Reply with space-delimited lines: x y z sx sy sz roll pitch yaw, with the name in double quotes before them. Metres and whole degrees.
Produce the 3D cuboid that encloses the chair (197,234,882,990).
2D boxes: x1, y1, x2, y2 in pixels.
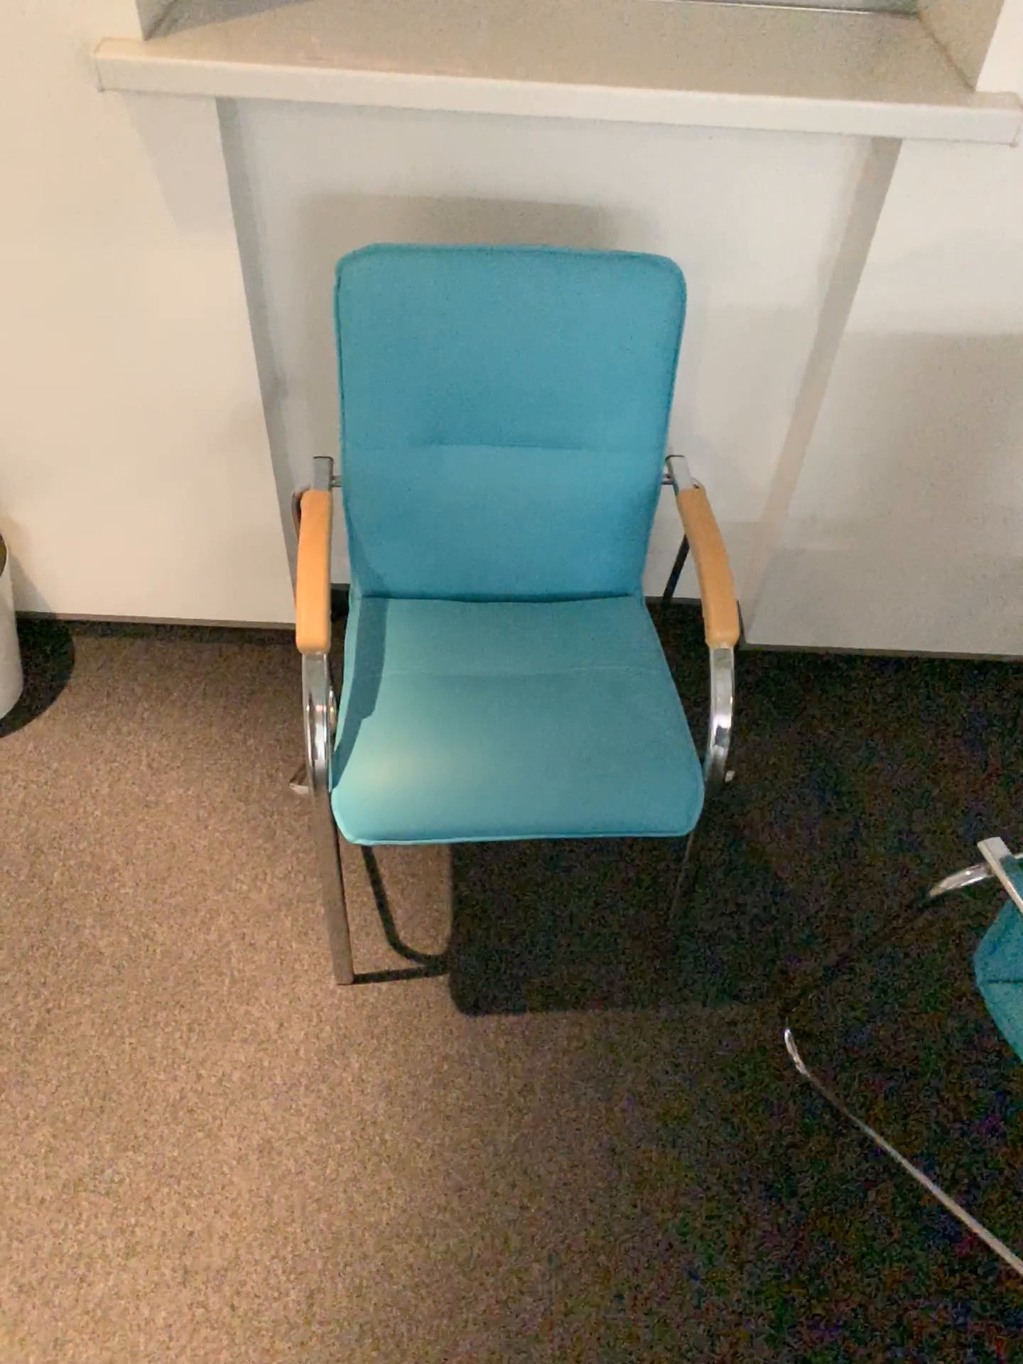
"chair" -0.007 -0.064 1.481 0.630 0.856 0.633 -1 49 -5
